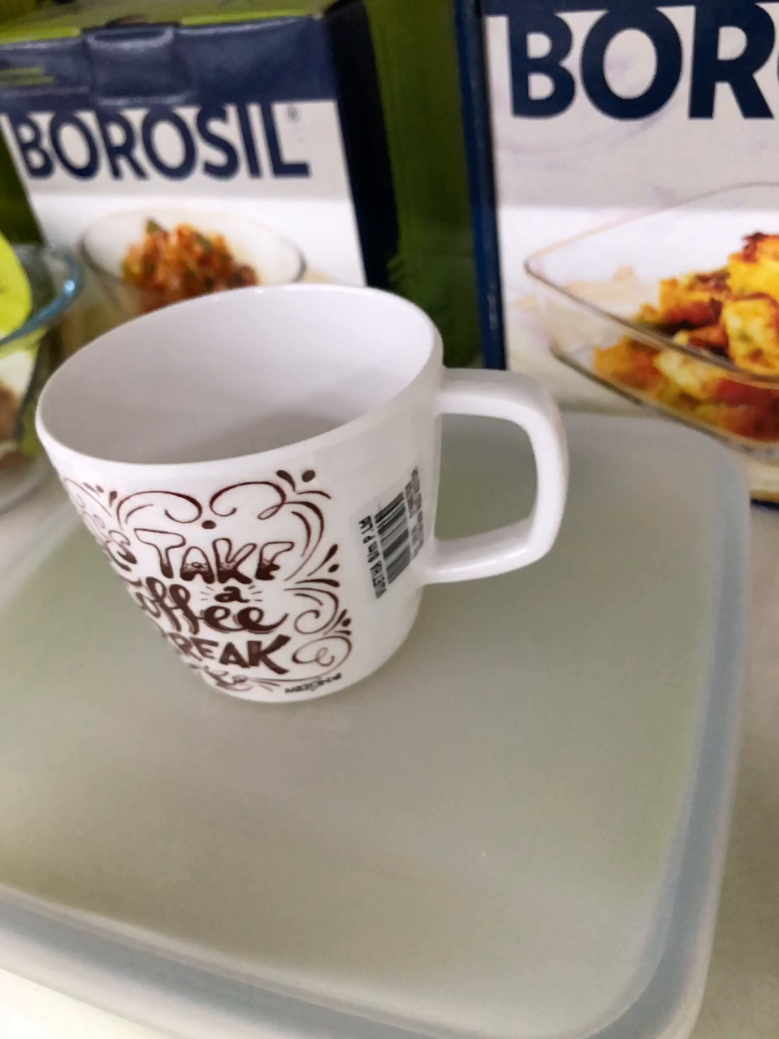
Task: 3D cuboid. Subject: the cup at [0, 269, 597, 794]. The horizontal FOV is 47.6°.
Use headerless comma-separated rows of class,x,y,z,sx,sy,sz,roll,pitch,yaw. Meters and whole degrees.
cup,-0.012,-0.002,0.179,0.100,0.070,0.070,3,37,16
